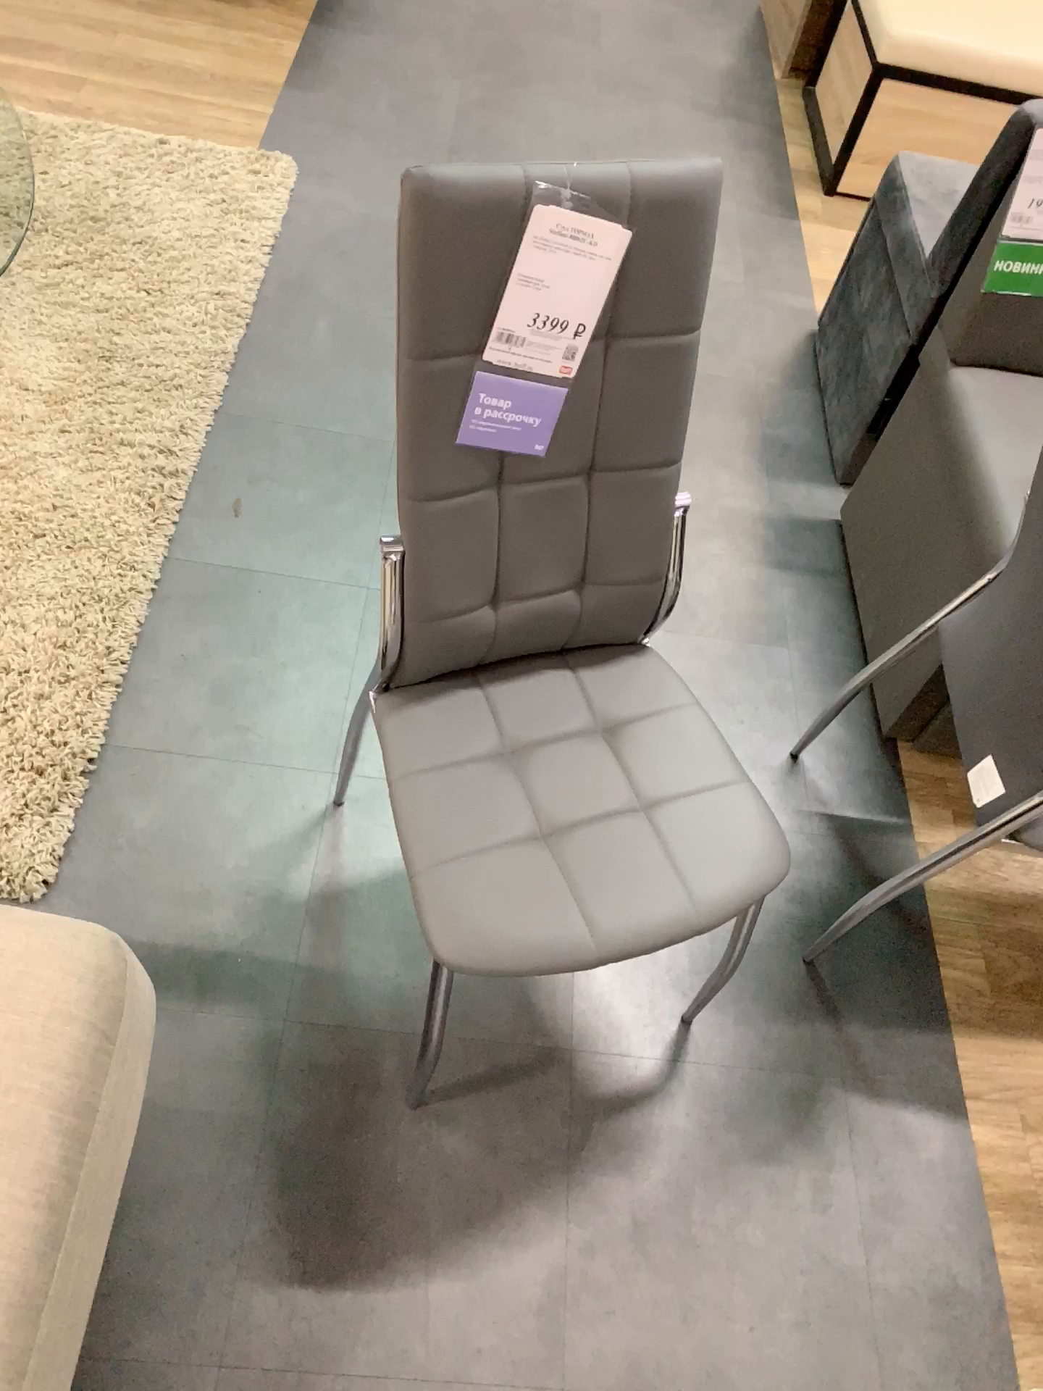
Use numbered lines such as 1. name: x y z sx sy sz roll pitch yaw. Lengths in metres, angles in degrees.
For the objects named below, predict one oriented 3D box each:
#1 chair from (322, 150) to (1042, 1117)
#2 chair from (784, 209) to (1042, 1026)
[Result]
1. chair: 0.067 0.018 1.234 0.471 1.026 0.531 -10 57 -18
2. chair: 0.810 0.008 1.426 0.550 1.026 0.452 10 53 -4
